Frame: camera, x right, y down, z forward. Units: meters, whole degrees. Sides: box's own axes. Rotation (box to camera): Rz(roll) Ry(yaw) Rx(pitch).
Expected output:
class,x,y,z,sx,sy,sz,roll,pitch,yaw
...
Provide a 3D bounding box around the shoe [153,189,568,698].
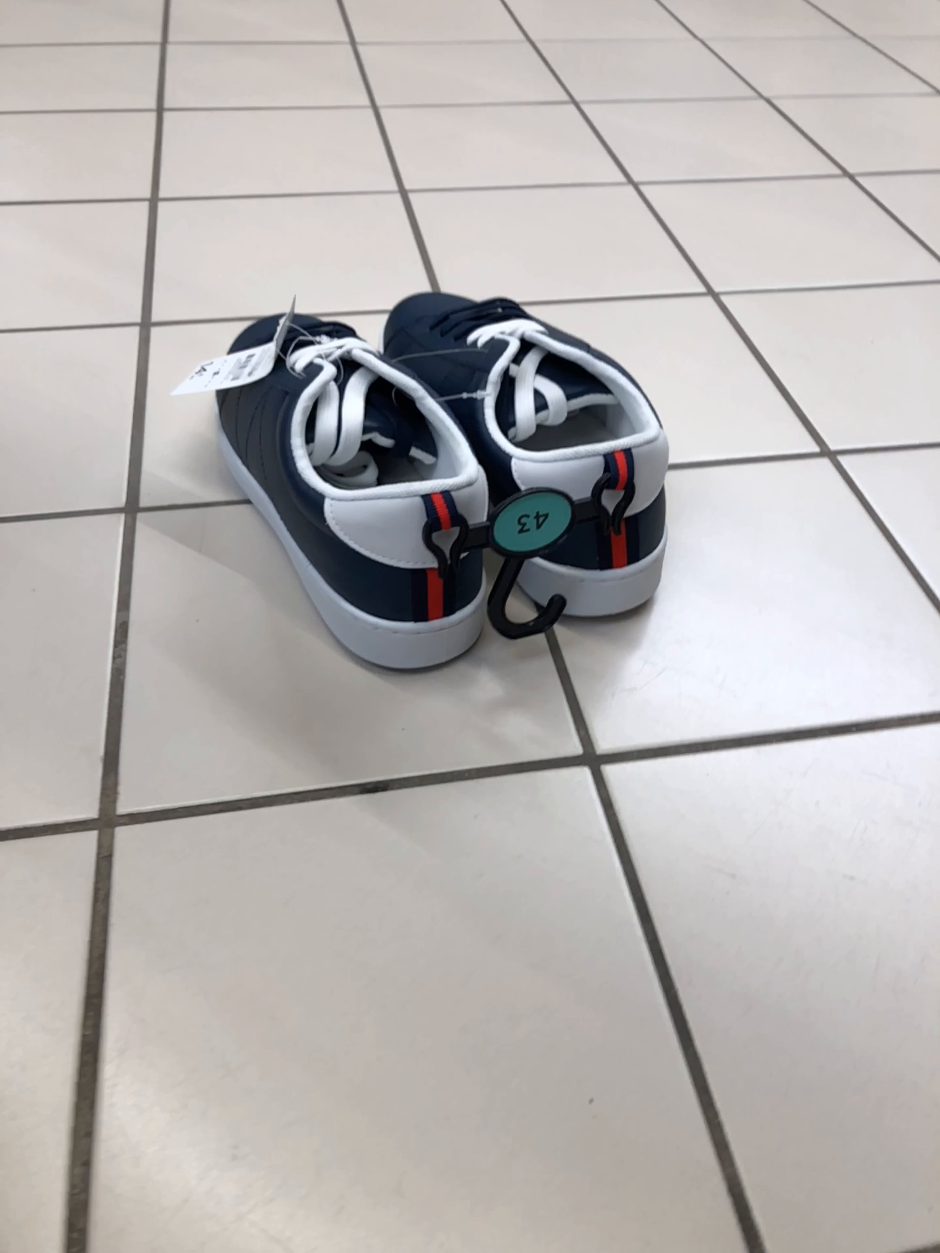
class,x,y,z,sx,sy,sz,roll,pitch,yaw
shoe,-0.069,-0.112,0.528,0.100,0.099,0.291,-17,48,-19

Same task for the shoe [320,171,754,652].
class,x,y,z,sx,sy,sz,roll,pitch,yaw
shoe,0.015,-0.132,0.549,0.100,0.099,0.291,-15,47,-18
